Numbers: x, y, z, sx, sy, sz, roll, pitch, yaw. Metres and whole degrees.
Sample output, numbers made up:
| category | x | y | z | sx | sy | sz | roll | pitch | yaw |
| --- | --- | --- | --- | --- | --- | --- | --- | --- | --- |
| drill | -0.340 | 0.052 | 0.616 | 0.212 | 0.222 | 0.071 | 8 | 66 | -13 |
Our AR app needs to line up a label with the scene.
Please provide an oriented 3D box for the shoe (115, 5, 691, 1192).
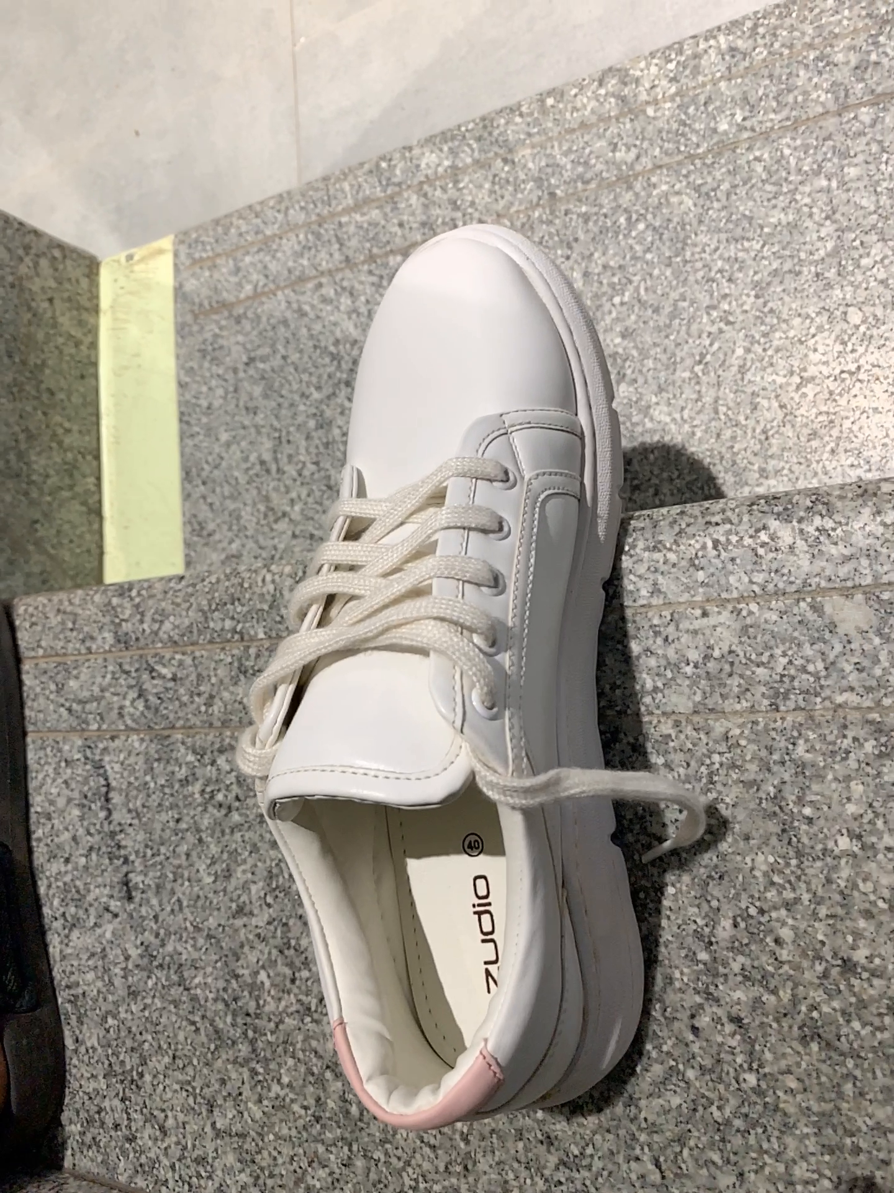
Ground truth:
| category | x | y | z | sx | sy | sz | roll | pitch | yaw |
| --- | --- | --- | --- | --- | --- | --- | --- | --- | --- |
| shoe | -0.011 | 0.021 | 0.265 | 0.110 | 0.110 | 0.290 | -6 | 83 | 29 |
